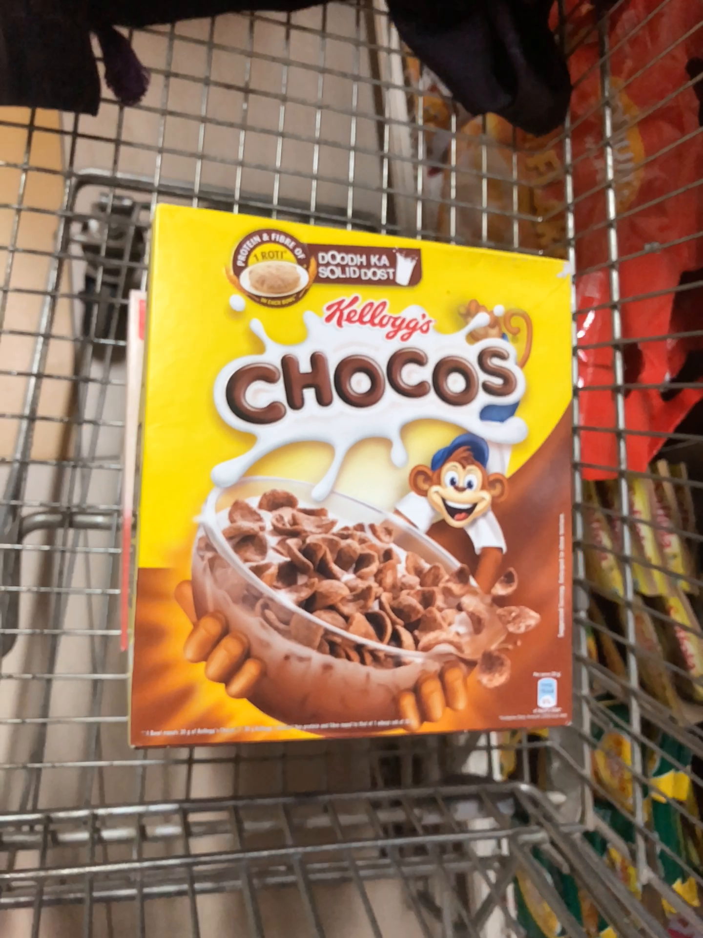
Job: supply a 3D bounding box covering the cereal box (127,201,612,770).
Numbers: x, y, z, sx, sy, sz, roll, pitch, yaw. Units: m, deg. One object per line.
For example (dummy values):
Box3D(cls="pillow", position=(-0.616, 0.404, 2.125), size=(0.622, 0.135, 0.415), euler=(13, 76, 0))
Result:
Box3D(cls="cereal box", position=(0.007, 0.009, 0.322), size=(0.180, 0.070, 0.190), euler=(3, 86, -16))
